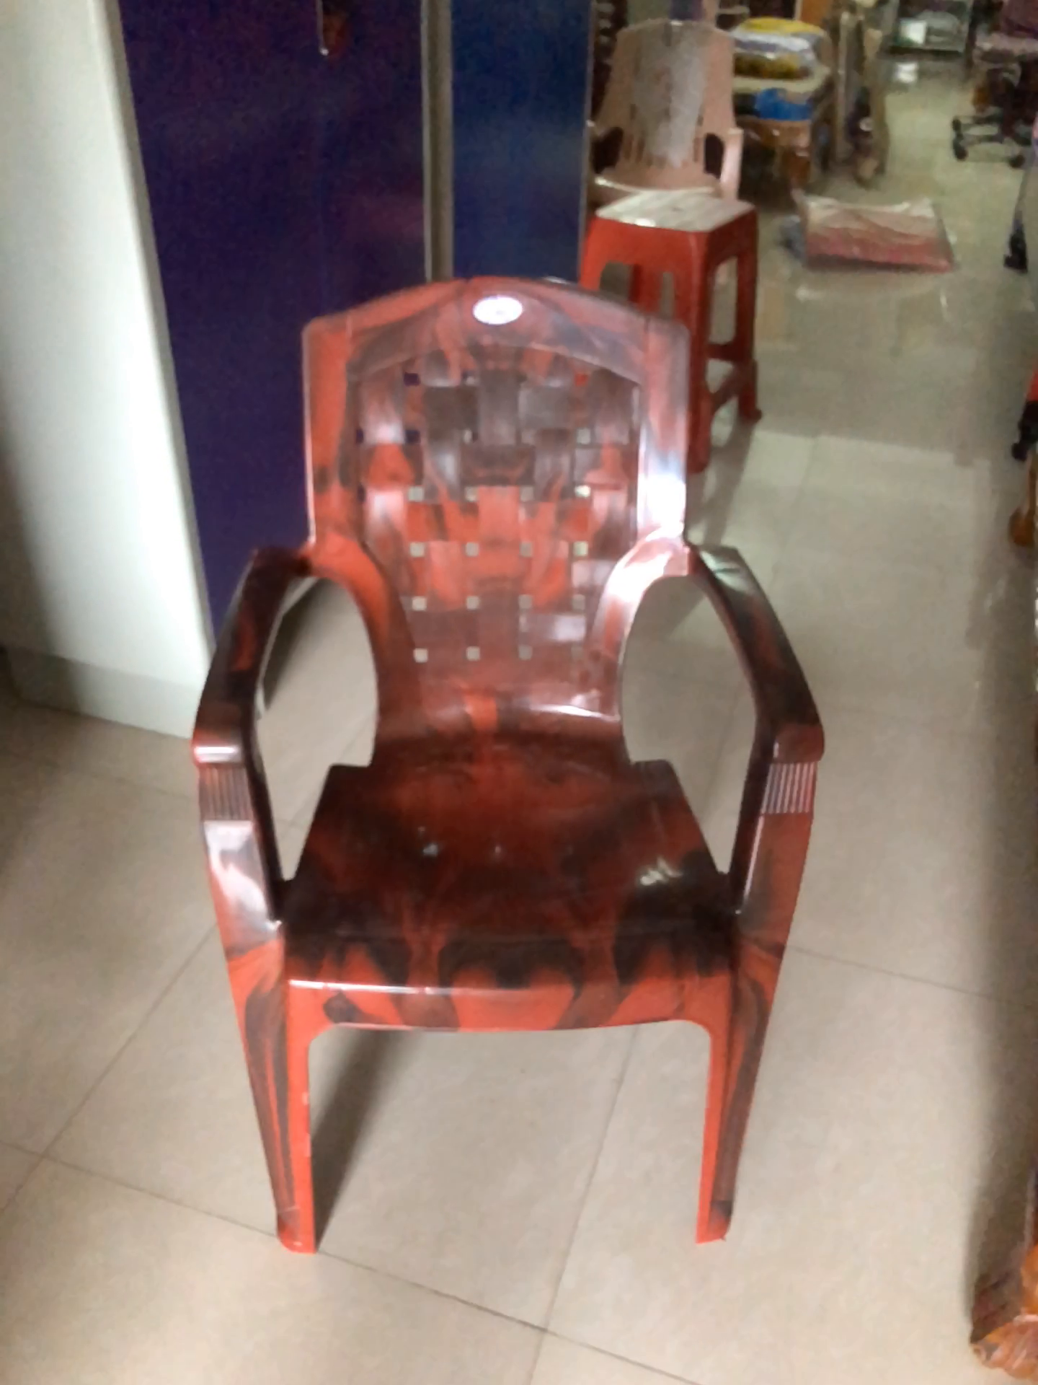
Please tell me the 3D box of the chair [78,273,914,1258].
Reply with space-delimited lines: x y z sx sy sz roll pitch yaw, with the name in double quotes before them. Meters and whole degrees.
"chair" -0.020 0.086 1.205 0.530 0.865 0.563 0 35 -1
